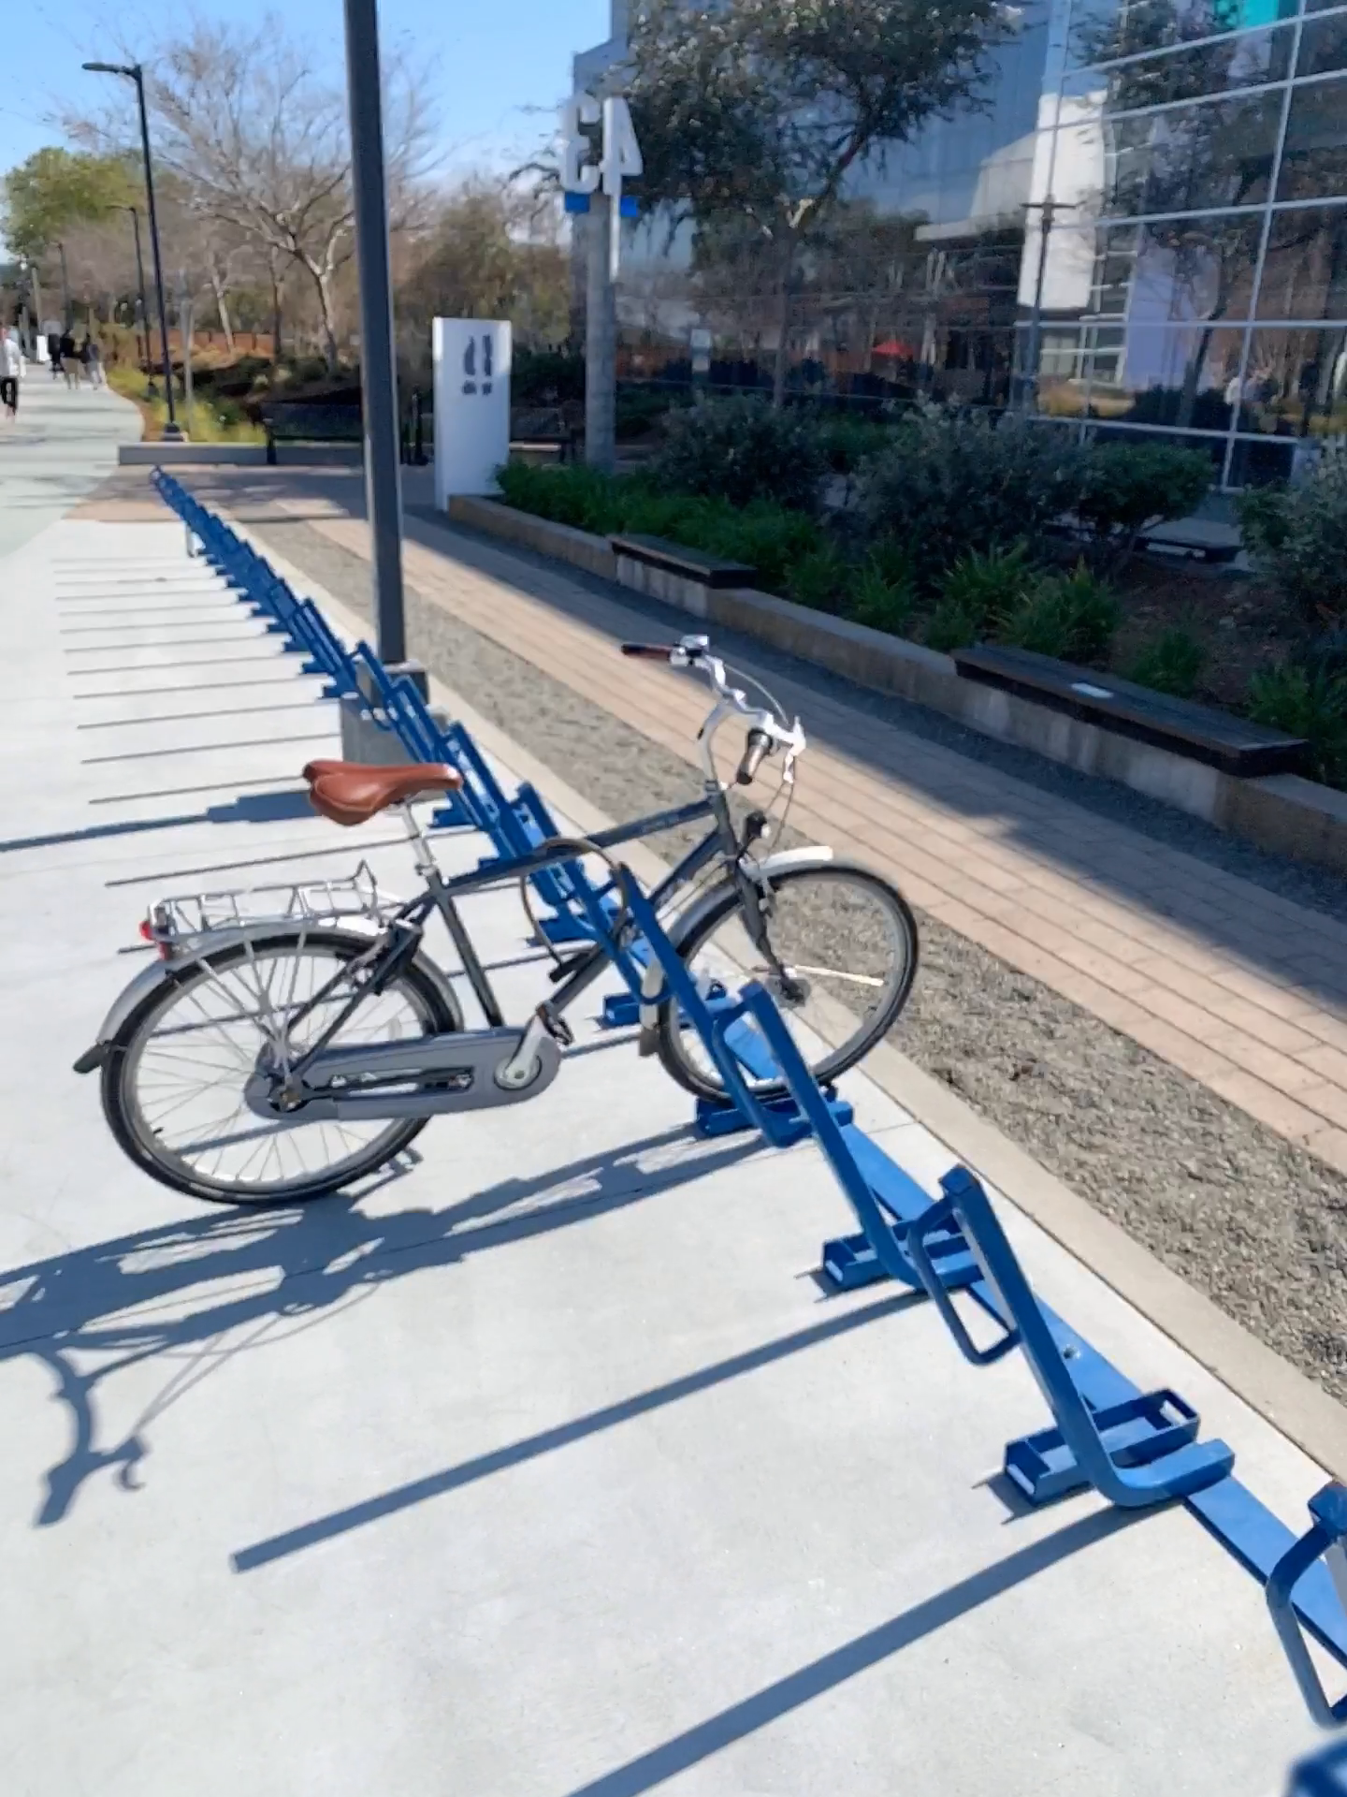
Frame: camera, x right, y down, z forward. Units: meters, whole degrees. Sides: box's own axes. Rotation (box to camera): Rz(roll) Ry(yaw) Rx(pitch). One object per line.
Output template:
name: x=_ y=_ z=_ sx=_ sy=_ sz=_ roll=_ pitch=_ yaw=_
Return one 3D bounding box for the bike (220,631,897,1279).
bike: x=-0.233 y=0.042 z=2.583 sx=1.060 sy=0.916 sz=0.594 roll=-6 pitch=23 yaw=-20
